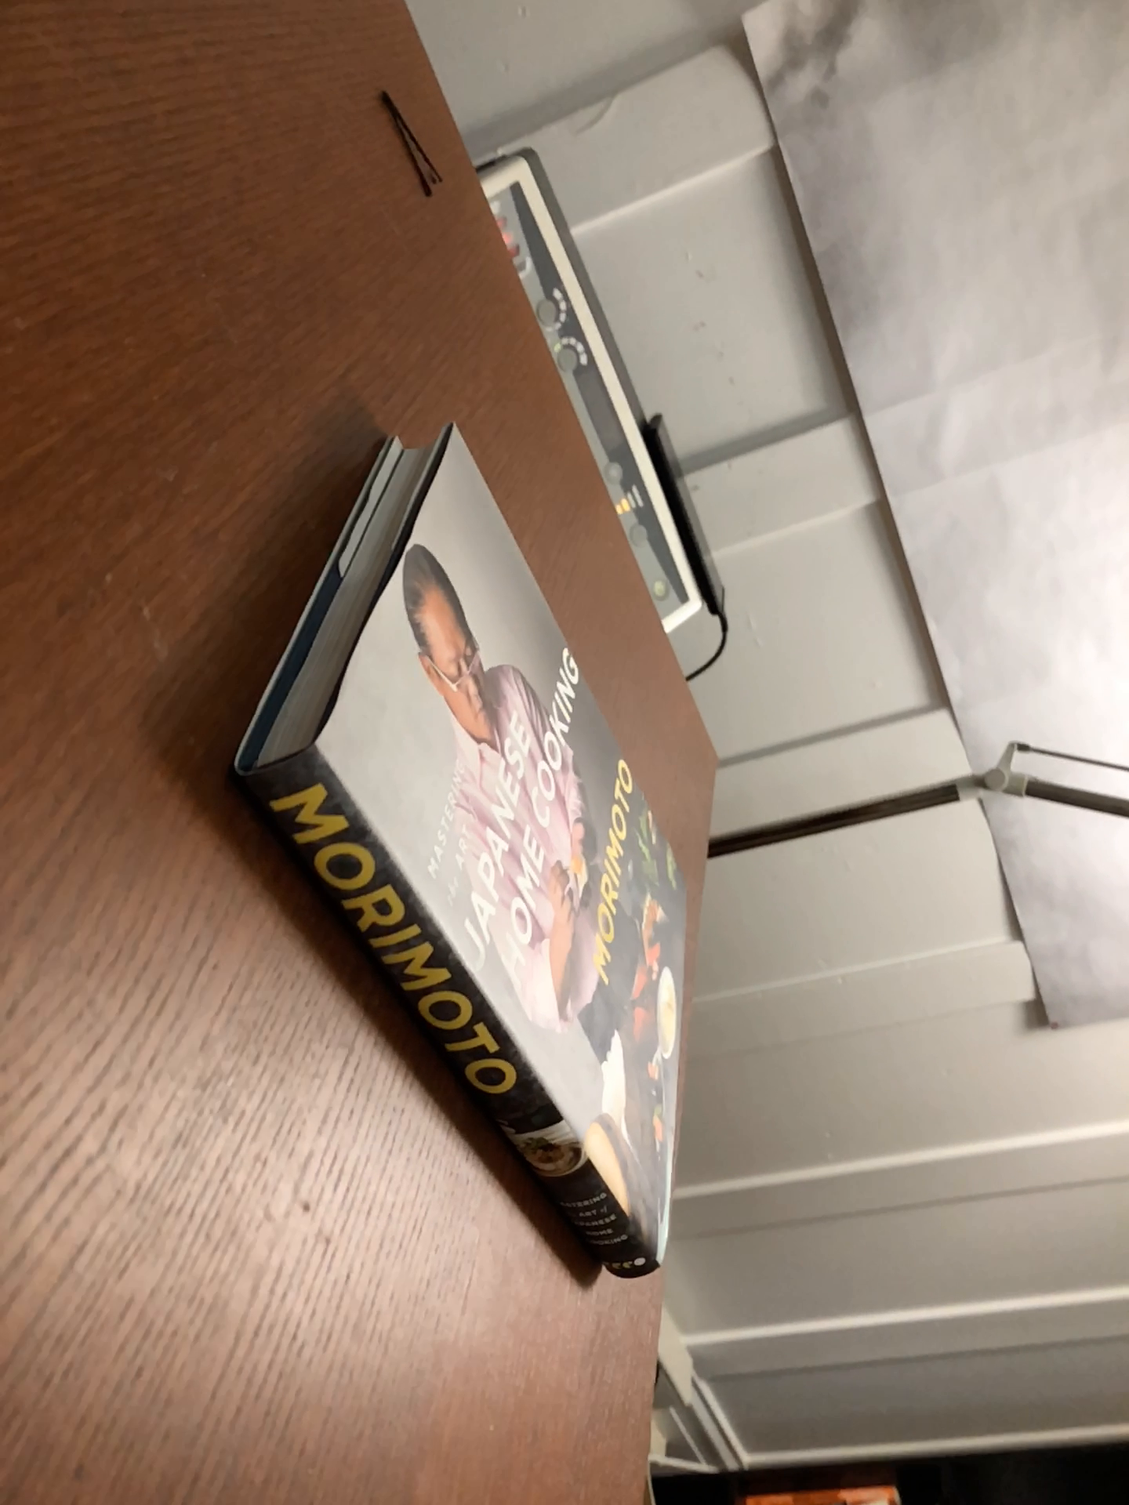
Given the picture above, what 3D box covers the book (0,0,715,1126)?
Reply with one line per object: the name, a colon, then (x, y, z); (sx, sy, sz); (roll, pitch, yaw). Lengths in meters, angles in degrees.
book: (-0.030, -0.082, 0.375); (0.221, 0.030, 0.300); (-50, 122, -67)
